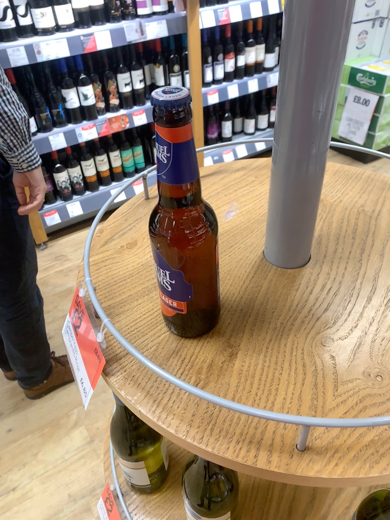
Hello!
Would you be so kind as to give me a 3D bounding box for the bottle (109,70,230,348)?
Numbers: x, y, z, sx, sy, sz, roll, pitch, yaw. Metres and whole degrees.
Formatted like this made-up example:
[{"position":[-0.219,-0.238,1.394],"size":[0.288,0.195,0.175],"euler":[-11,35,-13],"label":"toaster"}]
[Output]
[{"position":[-0.014,-0.028,0.323],"size":[0.061,0.211,0.063],"euler":[-2,40,2],"label":"bottle"}]
